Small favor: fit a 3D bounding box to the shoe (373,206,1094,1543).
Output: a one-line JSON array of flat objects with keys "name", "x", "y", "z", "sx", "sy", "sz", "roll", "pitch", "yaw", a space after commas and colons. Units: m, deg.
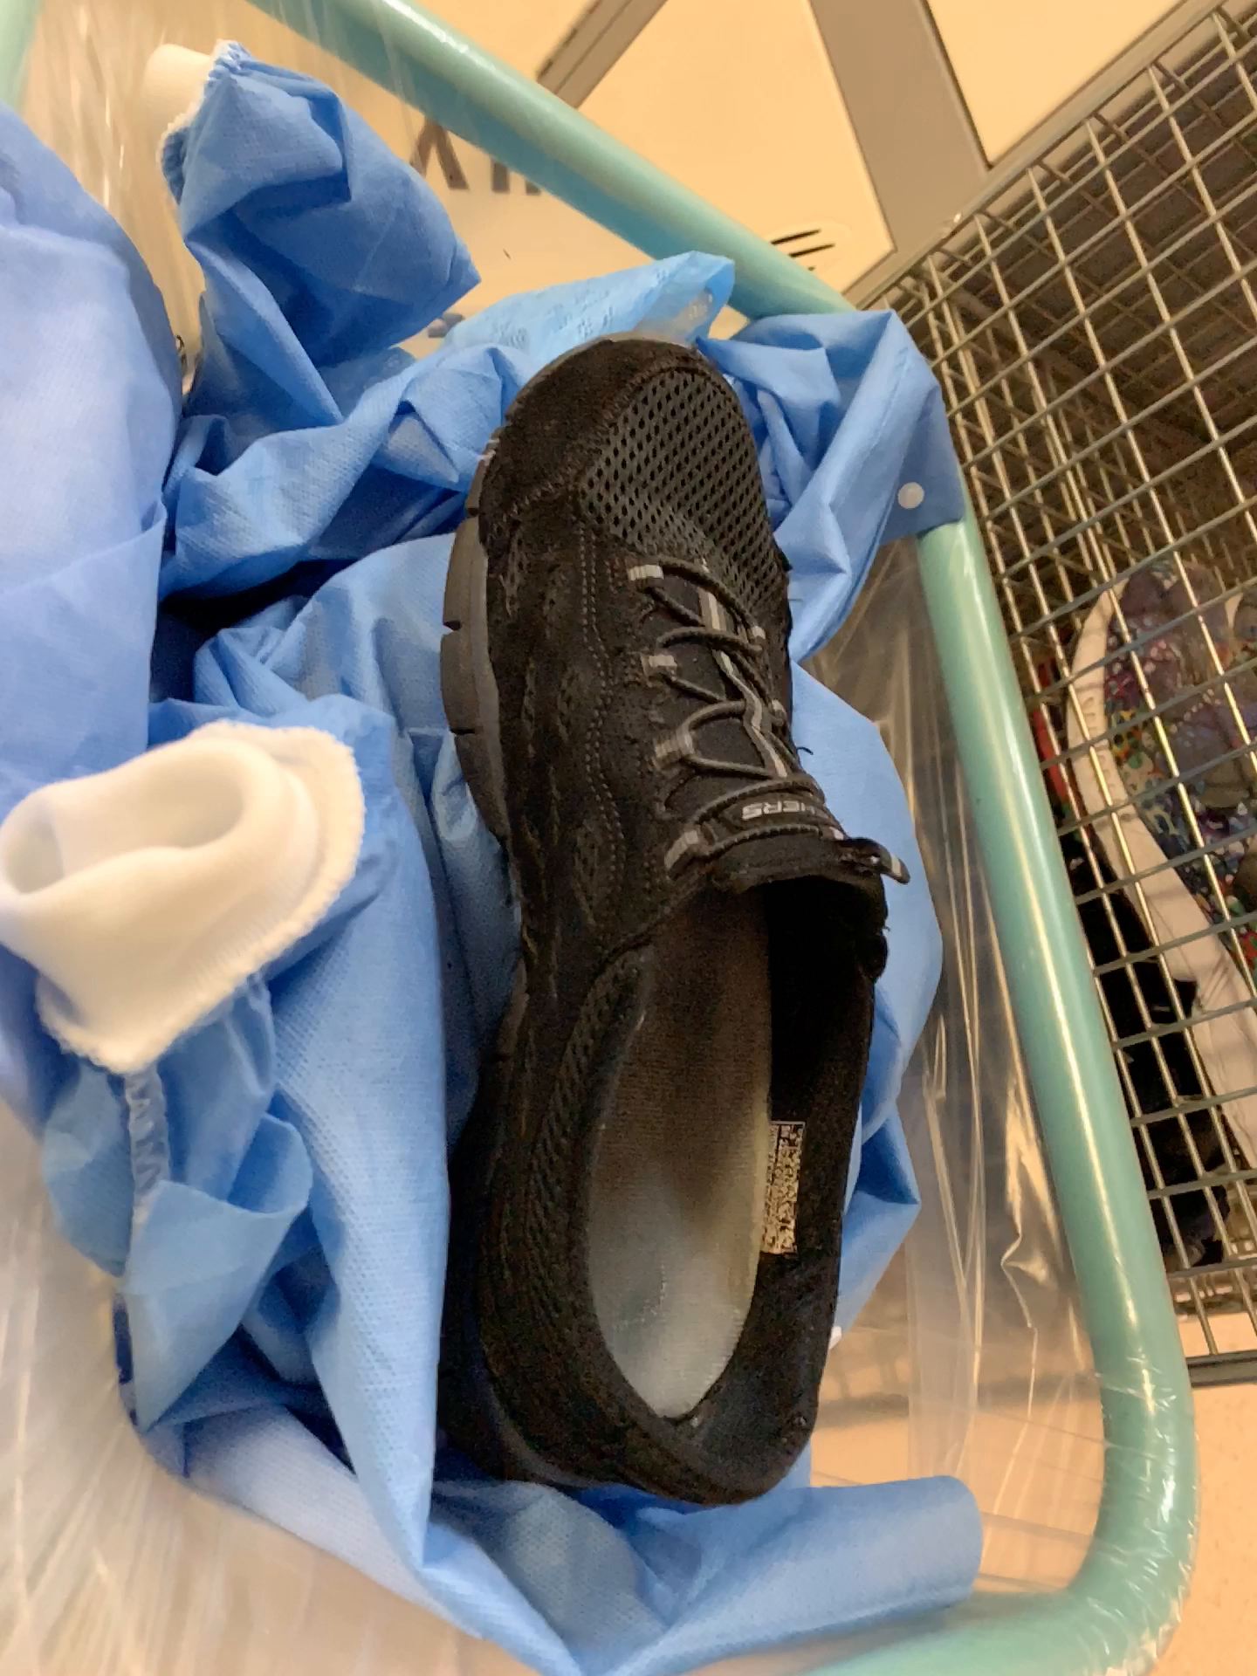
[{"name": "shoe", "x": 0.009, "y": 0.005, "z": 0.290, "sx": 0.088, "sy": 0.094, "sz": 0.255, "roll": 12, "pitch": 62, "yaw": -39}]
